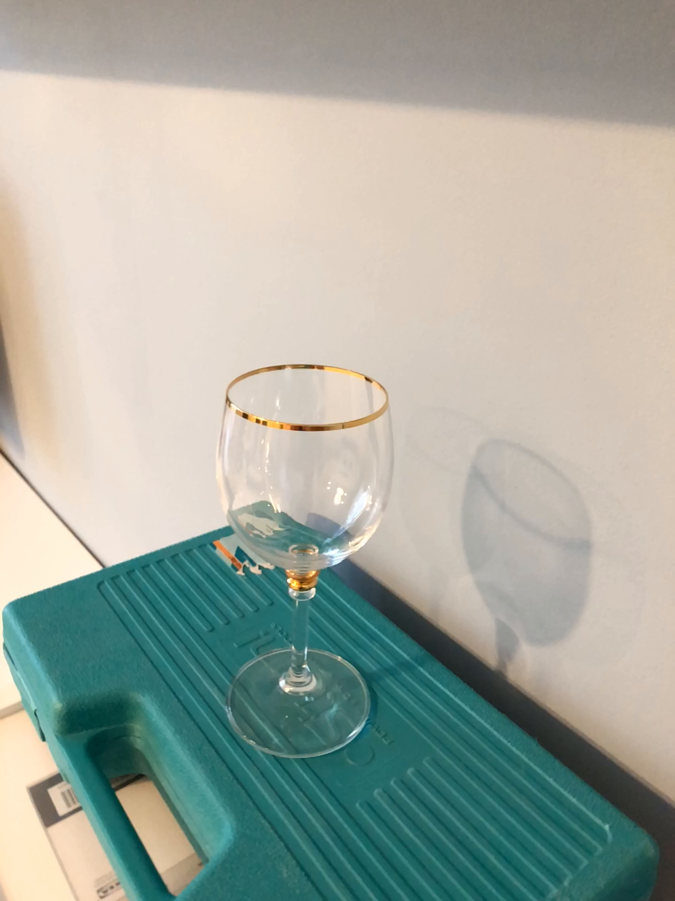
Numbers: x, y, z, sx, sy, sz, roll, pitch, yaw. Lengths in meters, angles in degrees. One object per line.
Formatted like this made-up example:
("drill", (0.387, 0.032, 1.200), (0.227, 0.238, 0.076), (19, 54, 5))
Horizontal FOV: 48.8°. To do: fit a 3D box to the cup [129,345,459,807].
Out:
("cup", (-0.023, 0.050, 0.345), (0.100, 0.159, 0.100), (1, 26, -1))
